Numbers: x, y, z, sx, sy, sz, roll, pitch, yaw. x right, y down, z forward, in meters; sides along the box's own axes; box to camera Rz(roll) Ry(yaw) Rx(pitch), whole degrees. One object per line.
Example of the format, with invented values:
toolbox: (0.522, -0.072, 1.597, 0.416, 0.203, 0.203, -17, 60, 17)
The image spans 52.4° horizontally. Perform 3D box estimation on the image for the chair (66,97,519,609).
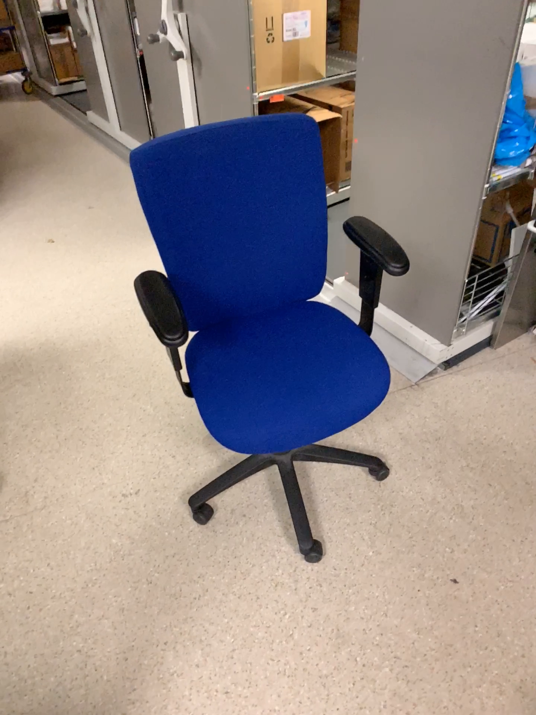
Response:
chair: (0.008, -0.050, 1.445, 0.671, 0.931, 0.766, -20, 42, -19)
